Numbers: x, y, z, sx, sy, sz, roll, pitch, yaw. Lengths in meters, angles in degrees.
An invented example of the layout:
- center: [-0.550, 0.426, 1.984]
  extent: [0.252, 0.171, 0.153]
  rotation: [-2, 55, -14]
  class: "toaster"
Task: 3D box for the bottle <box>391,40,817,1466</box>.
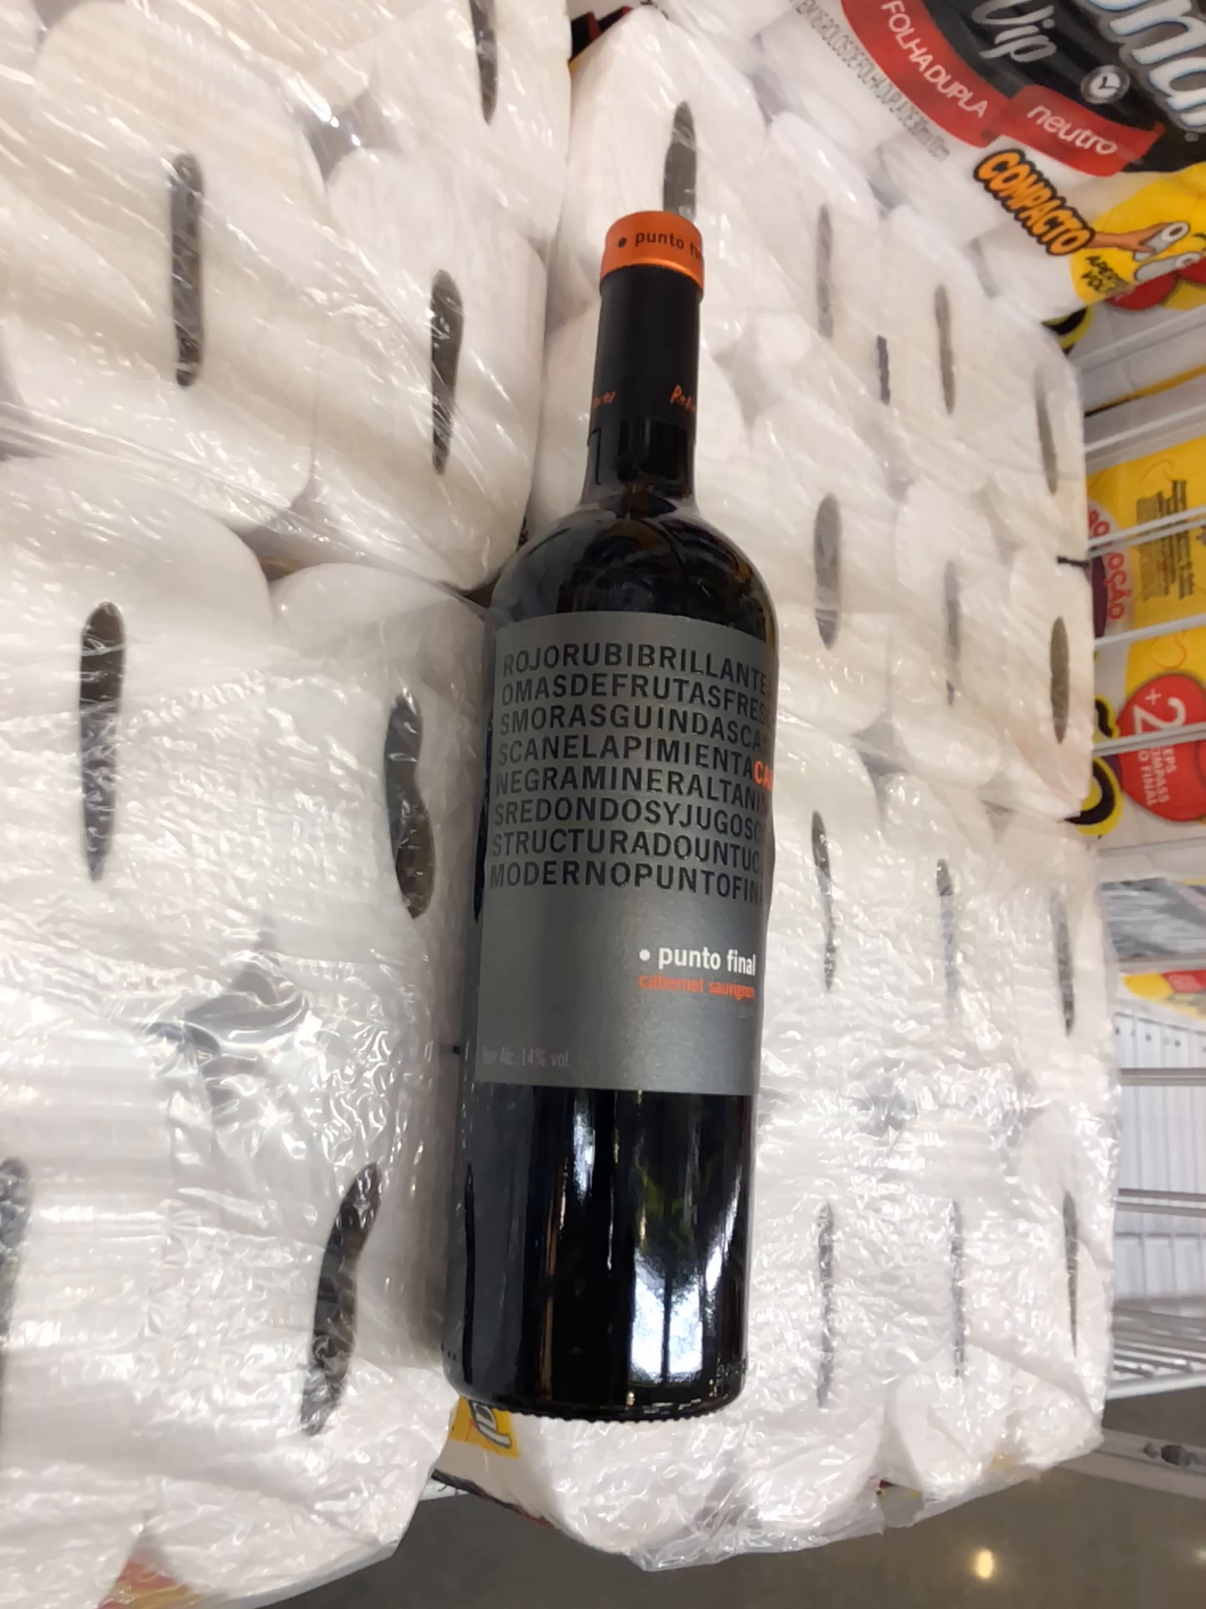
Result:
- center: [0.006, -0.019, 0.324]
  extent: [0.070, 0.060, 0.310]
  rotation: [14, 72, -41]
  class: "bottle"
